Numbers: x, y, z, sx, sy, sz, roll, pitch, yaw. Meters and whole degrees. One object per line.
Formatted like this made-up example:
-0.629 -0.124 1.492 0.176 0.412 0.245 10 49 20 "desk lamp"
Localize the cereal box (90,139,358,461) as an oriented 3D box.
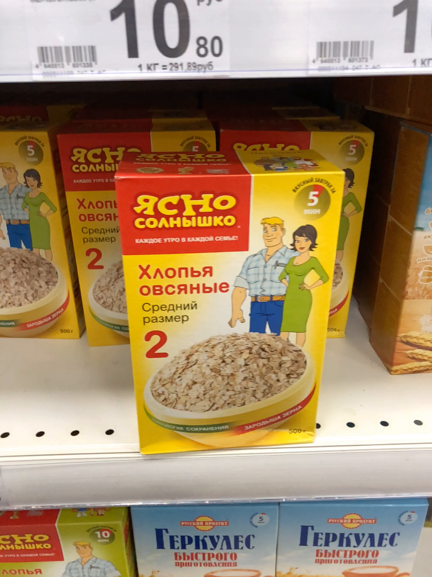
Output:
0.004 0.010 0.306 0.130 0.189 0.070 -2 26 -2 "cereal box"
